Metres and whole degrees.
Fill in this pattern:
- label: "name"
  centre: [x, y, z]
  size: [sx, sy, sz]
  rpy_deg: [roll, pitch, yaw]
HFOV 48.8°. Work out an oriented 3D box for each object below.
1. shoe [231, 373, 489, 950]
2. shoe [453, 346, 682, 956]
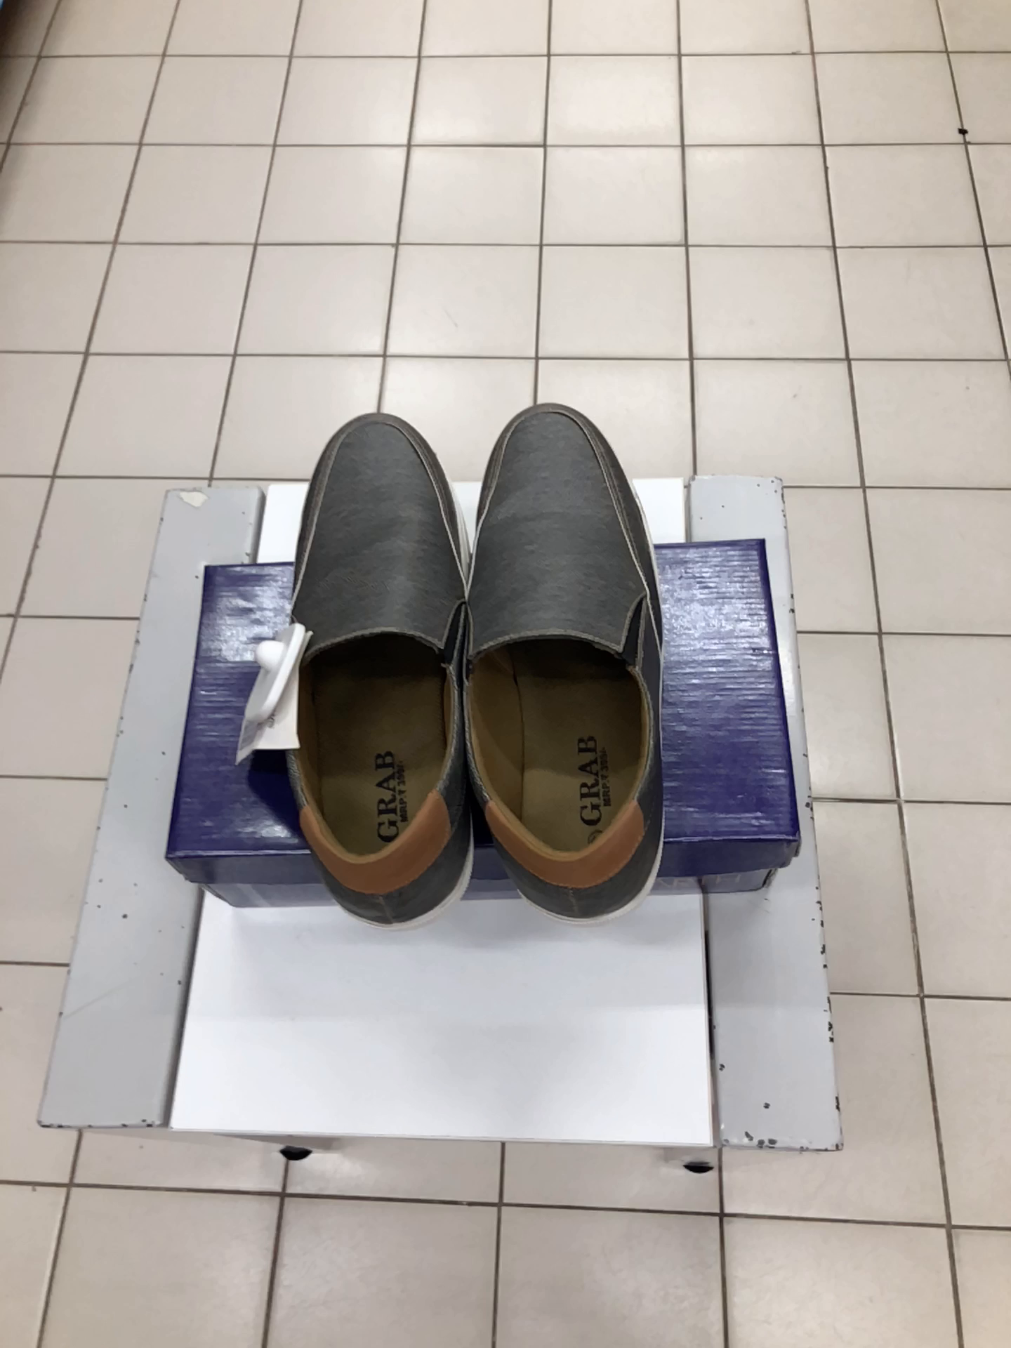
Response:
- label: "shoe"
  centre: [-0.070, -0.010, 0.567]
  size: [0.100, 0.100, 0.271]
  rpy_deg: [-5, 64, 2]
- label: "shoe"
  centre: [0.033, -0.016, 0.607]
  size: [0.100, 0.120, 0.311]
  rpy_deg: [-1, 64, 4]
